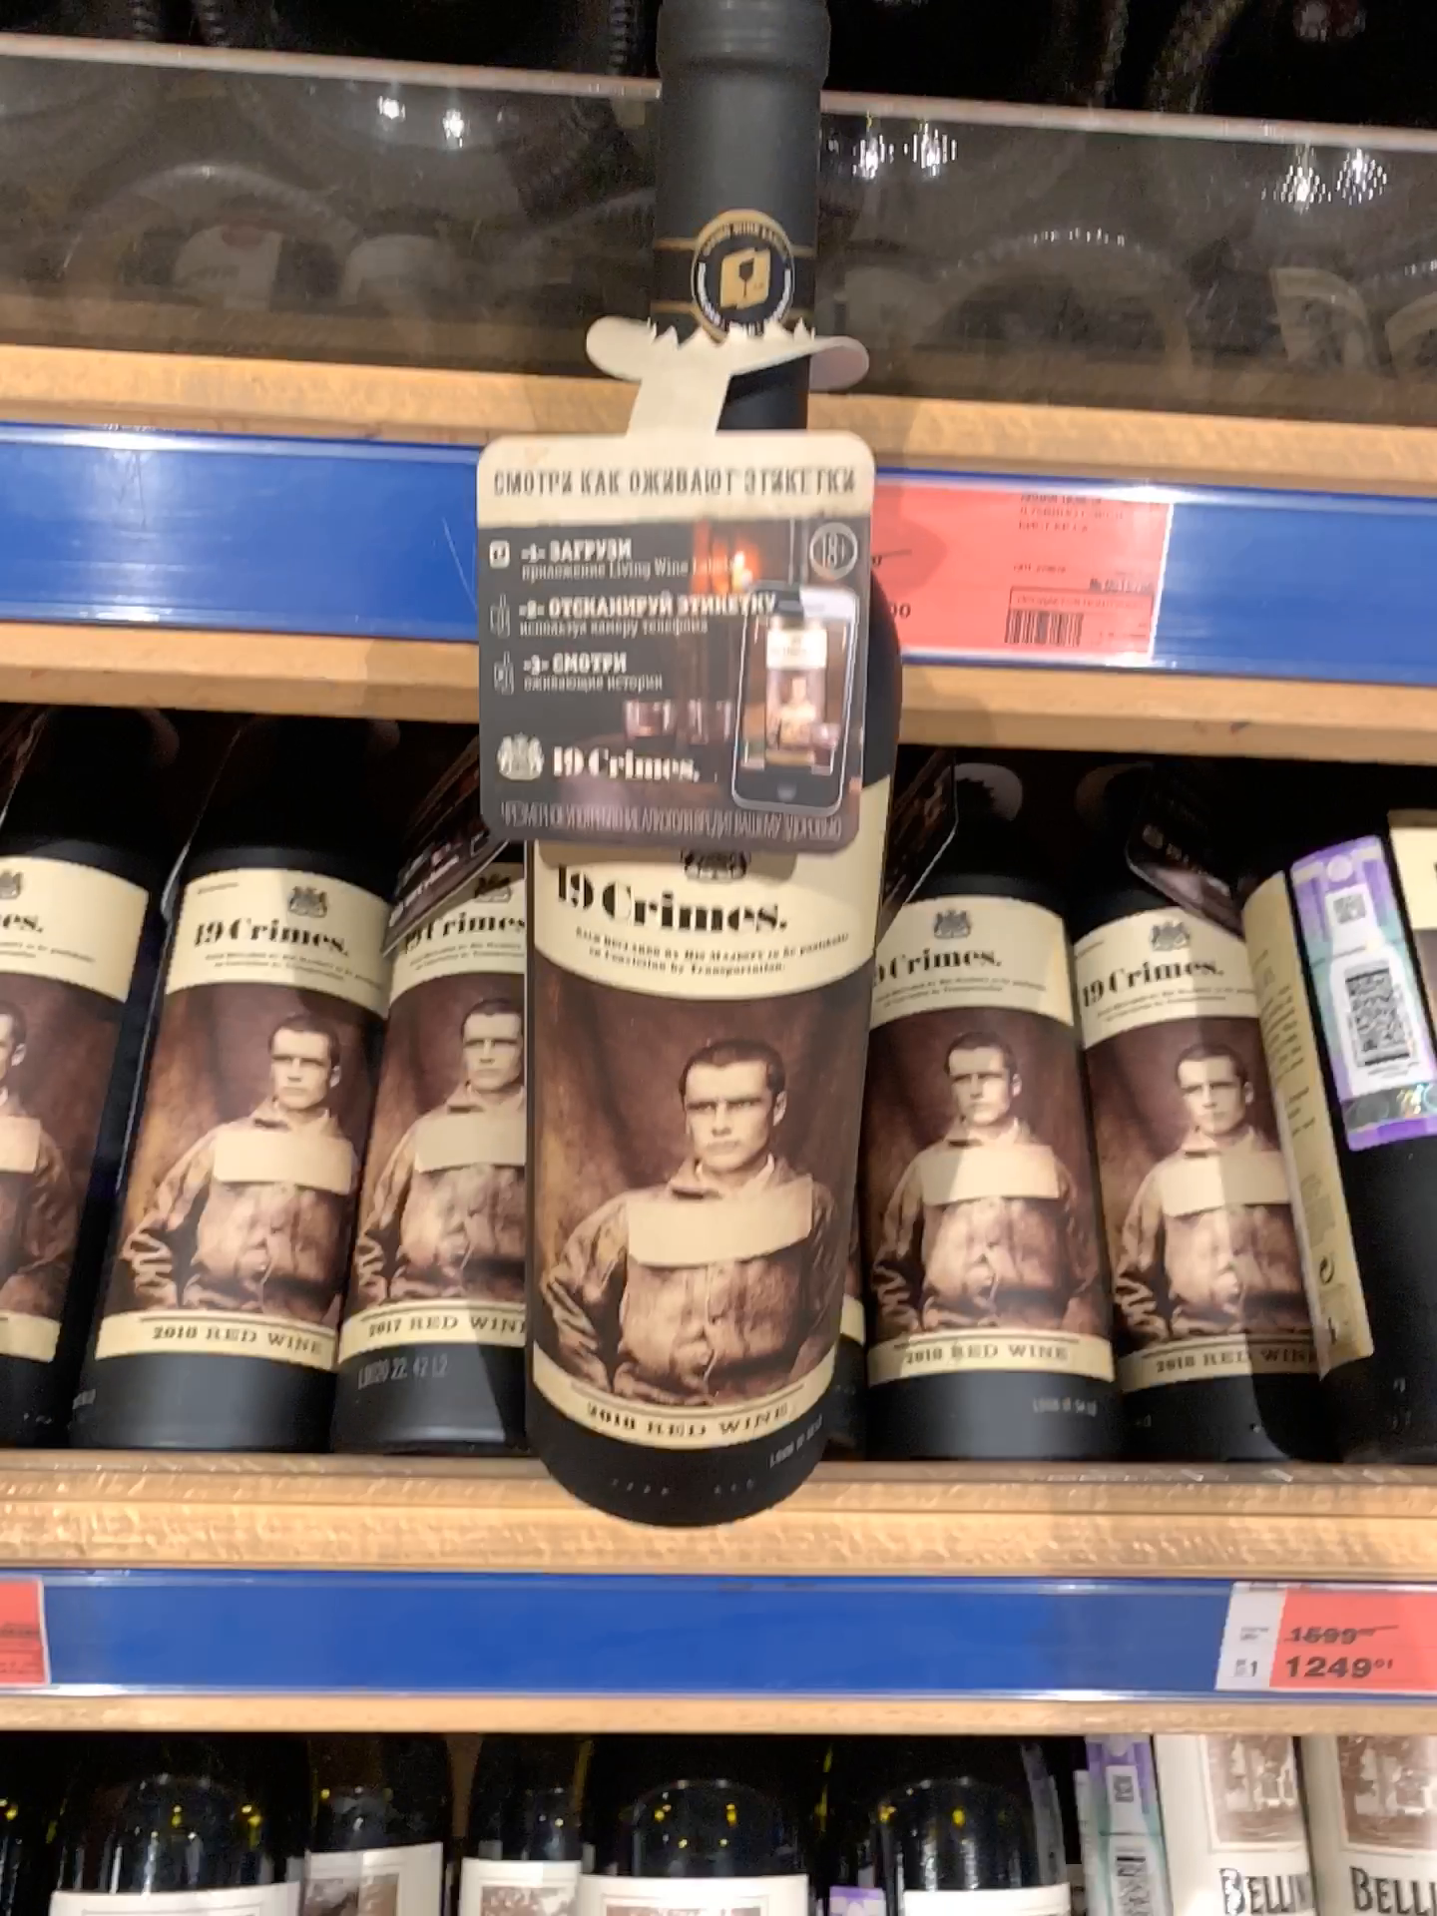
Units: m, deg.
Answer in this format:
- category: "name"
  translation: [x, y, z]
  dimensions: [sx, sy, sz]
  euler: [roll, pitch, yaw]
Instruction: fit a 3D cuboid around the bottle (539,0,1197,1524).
- category: "bottle"
  translation: [0.011, -0.025, 0.310]
  dimensions: [0.086, 0.299, 0.082]
  euler: [4, 25, -2]
